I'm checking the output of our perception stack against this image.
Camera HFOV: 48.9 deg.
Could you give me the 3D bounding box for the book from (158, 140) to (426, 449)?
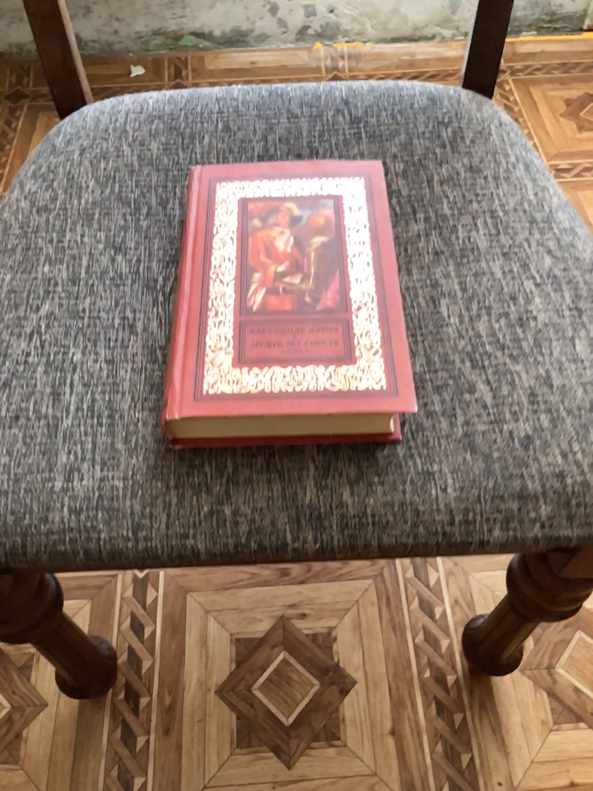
[{"bbox_3d":[-0.004,-0.070,0.392,0.131,0.038,0.207,-2,56,1],"label":"book"}]
